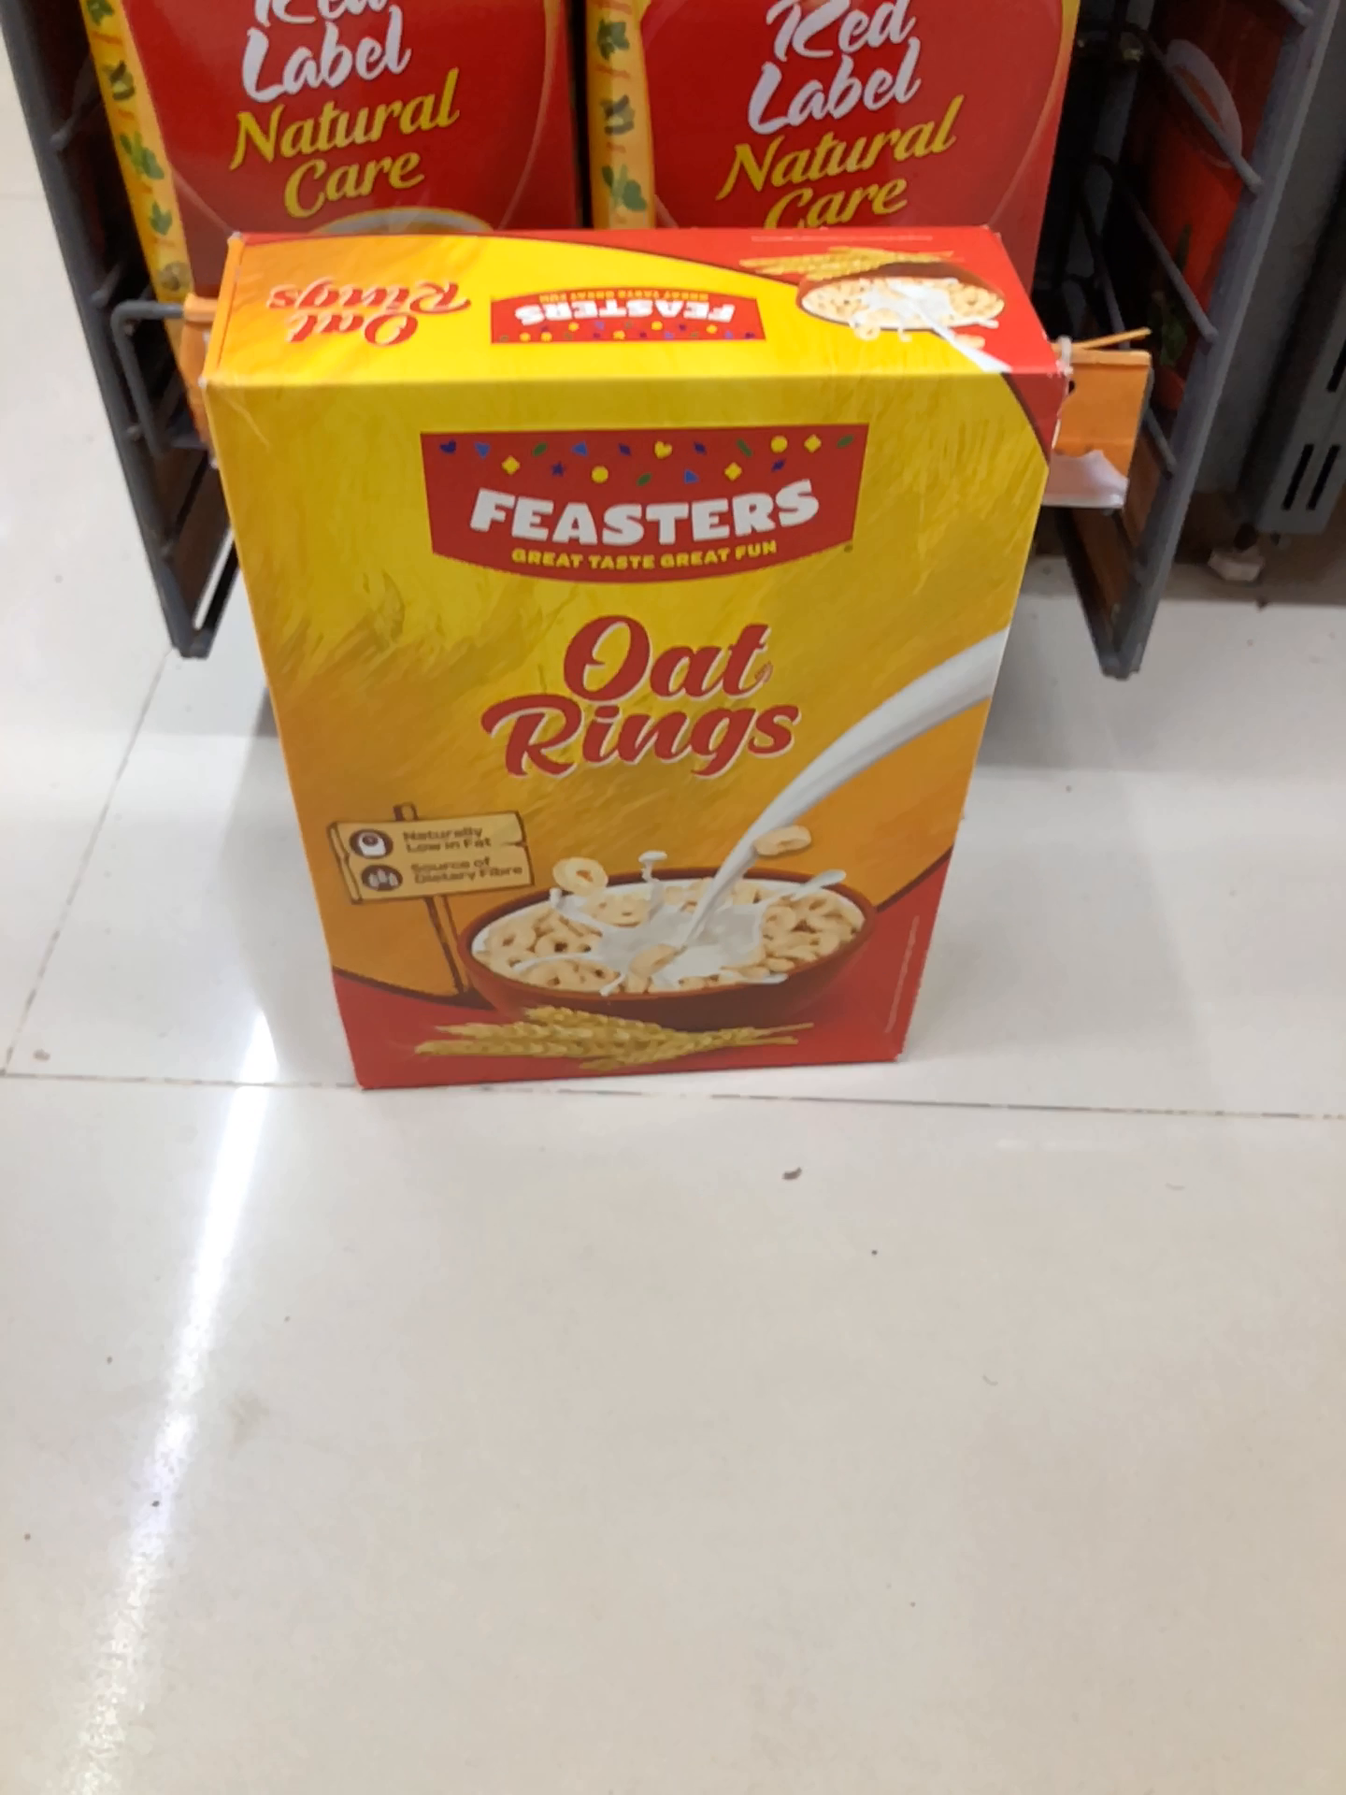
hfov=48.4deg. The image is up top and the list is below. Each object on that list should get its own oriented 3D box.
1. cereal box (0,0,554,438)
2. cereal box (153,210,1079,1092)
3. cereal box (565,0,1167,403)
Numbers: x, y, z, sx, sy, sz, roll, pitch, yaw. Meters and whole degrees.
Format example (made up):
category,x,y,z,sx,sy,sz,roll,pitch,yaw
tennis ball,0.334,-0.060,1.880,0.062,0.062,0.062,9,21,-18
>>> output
category,x,y,z,sx,sy,sz,roll,pitch,yaw
cereal box,-0.095,-0.224,0.408,0.120,0.169,0.081,1,47,-3
cereal box,-0.016,-0.048,0.379,0.170,0.219,0.070,-2,48,-5
cereal box,0.035,-0.217,0.385,0.120,0.149,0.081,-3,48,-6
